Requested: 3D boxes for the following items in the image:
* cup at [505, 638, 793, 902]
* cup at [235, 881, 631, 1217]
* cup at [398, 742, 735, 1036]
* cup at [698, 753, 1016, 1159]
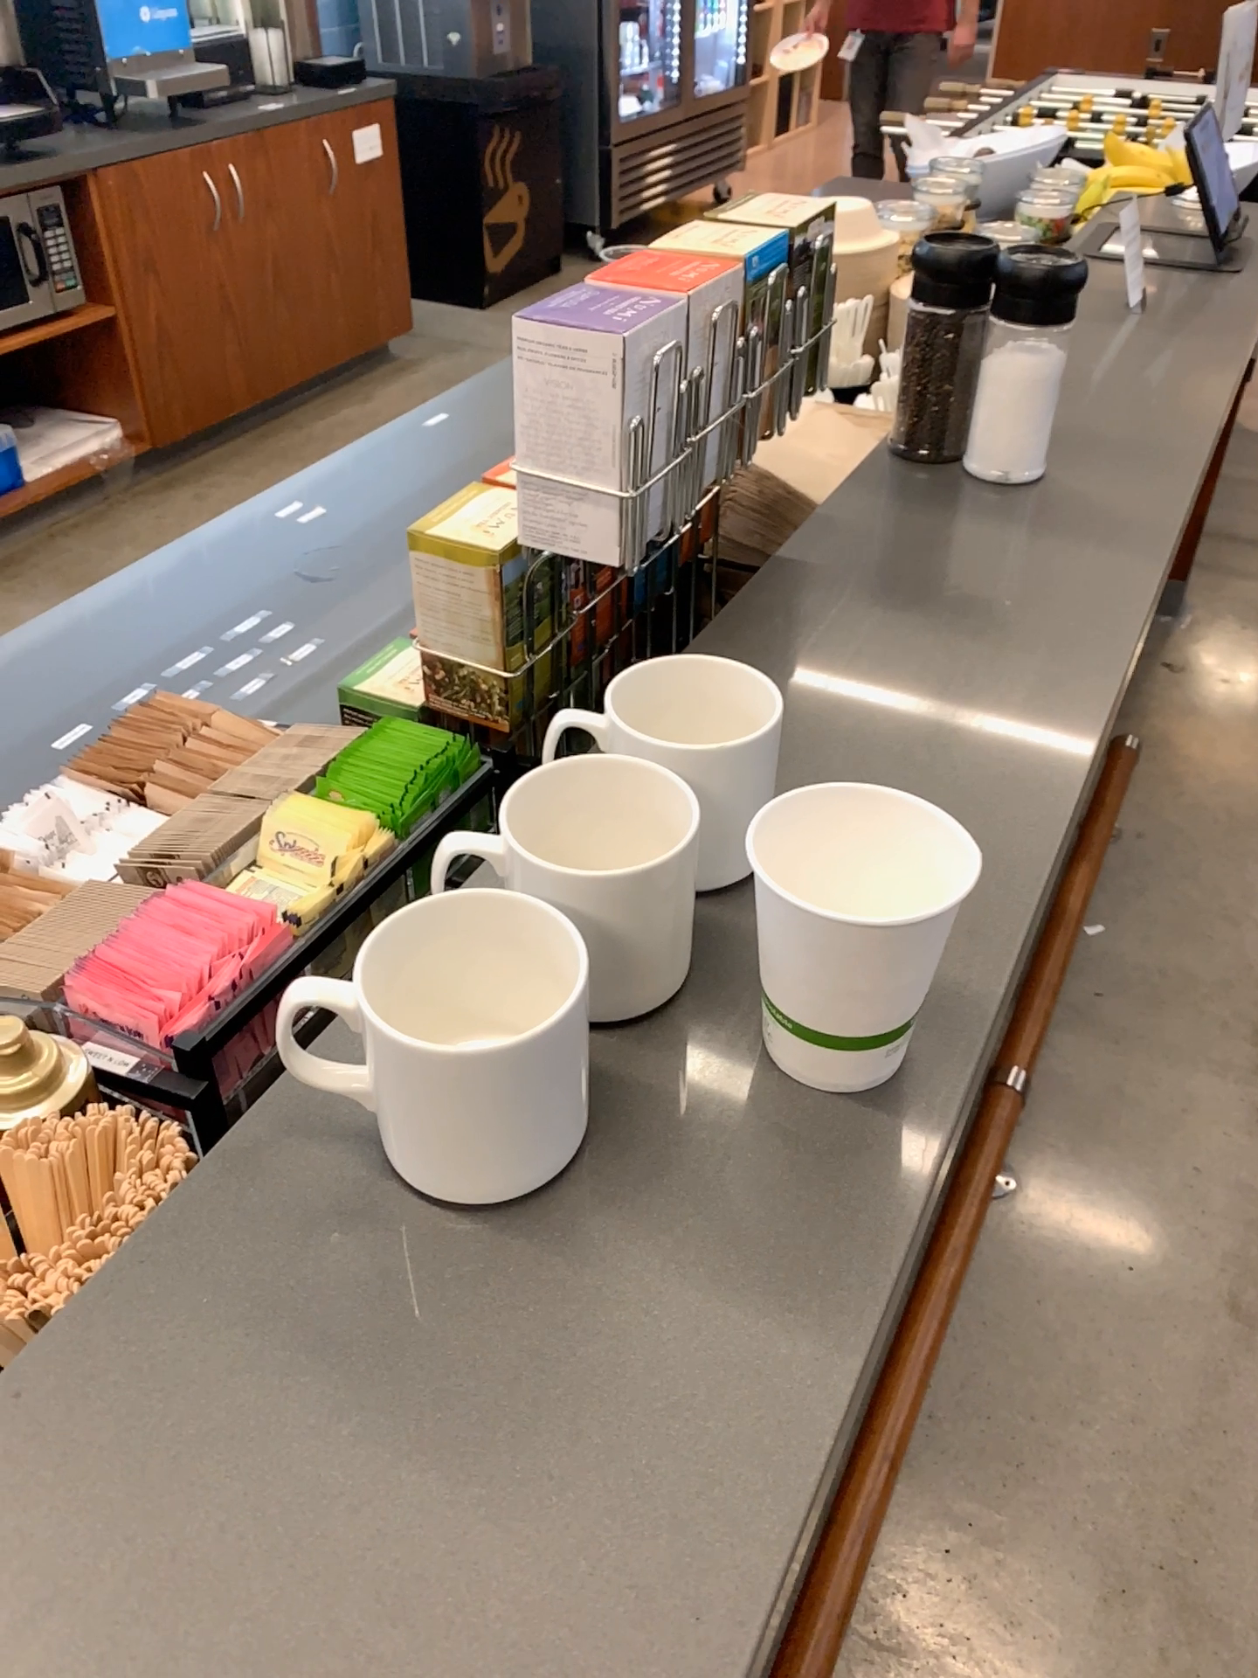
[{"bbox_3d":[0.009,-0.036,0.650,0.130,0.089,0.101,1,38,0],"label":"cup"},{"bbox_3d":[-0.067,0.077,0.487,0.130,0.080,0.091,-2,38,-3],"label":"cup"},{"bbox_3d":[-0.026,0.020,0.564,0.130,0.080,0.101,-1,38,-2],"label":"cup"},{"bbox_3d":[0.090,0.045,0.524,0.090,0.109,0.090,0,38,0],"label":"cup"}]
